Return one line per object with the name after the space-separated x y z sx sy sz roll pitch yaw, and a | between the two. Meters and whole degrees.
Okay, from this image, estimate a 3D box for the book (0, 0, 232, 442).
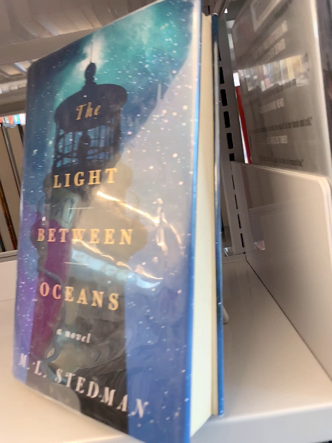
-0.040 -0.005 0.218 0.156 0.225 0.042 -2 -6 38 | book
